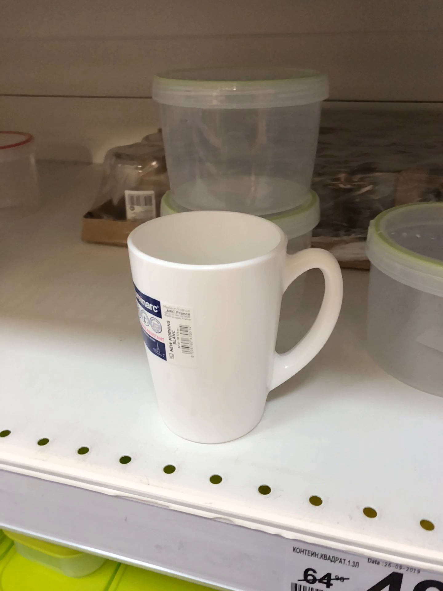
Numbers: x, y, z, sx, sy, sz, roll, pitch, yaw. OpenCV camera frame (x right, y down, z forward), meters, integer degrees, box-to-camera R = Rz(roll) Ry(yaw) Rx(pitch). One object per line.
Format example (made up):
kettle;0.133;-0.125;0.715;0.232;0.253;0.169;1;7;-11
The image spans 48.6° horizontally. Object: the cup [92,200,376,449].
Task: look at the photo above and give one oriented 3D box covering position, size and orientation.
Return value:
cup;0.009;0.013;0.268;0.120;0.107;0.080;1;29;5
